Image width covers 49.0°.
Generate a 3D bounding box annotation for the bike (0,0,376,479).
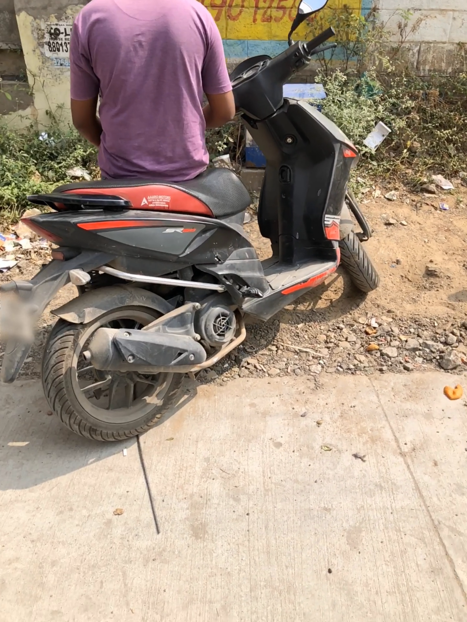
[{"bbox_3d":[-0.197,-0.523,2.103,0.718,1.199,1.775,23,41,30],"label":"bike"}]
